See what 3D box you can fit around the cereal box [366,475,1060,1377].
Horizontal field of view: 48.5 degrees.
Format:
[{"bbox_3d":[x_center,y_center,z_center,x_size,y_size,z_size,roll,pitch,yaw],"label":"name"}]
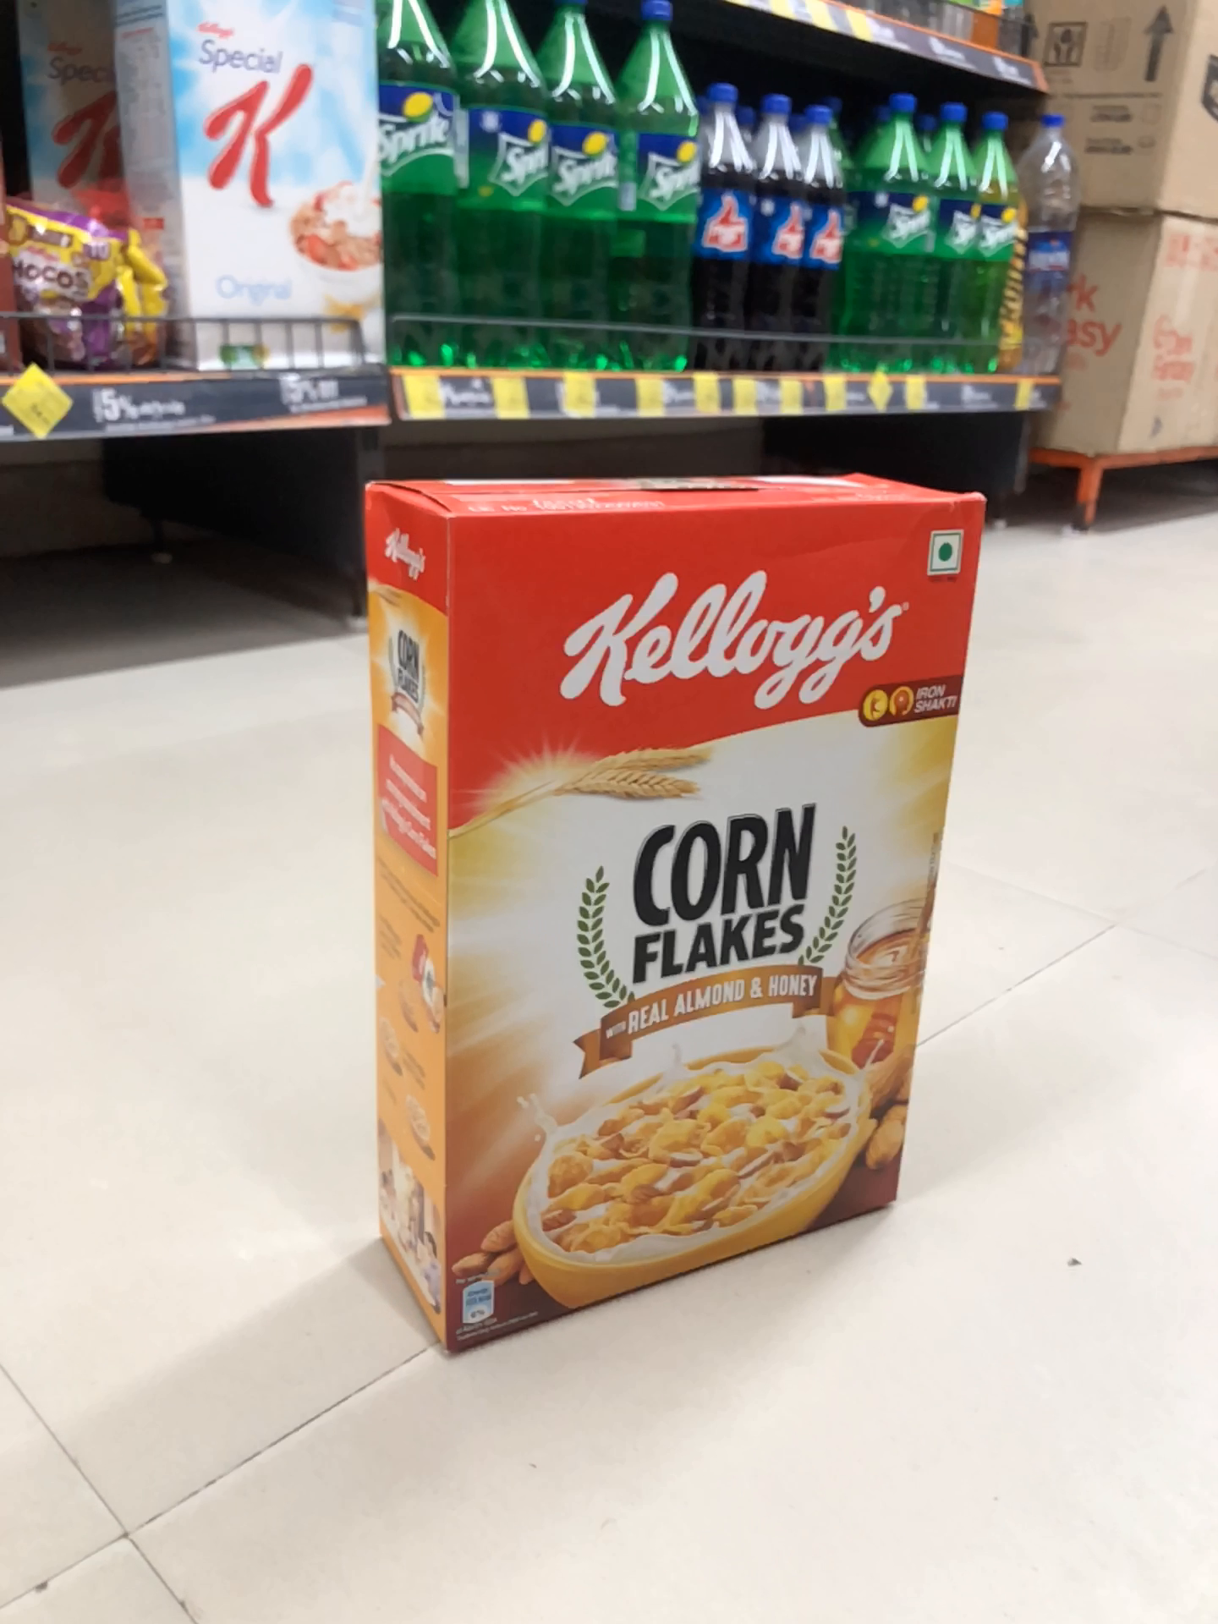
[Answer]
[{"bbox_3d":[0.027,0.026,0.428,0.190,0.249,0.070,-8,23,-28],"label":"cereal box"}]
